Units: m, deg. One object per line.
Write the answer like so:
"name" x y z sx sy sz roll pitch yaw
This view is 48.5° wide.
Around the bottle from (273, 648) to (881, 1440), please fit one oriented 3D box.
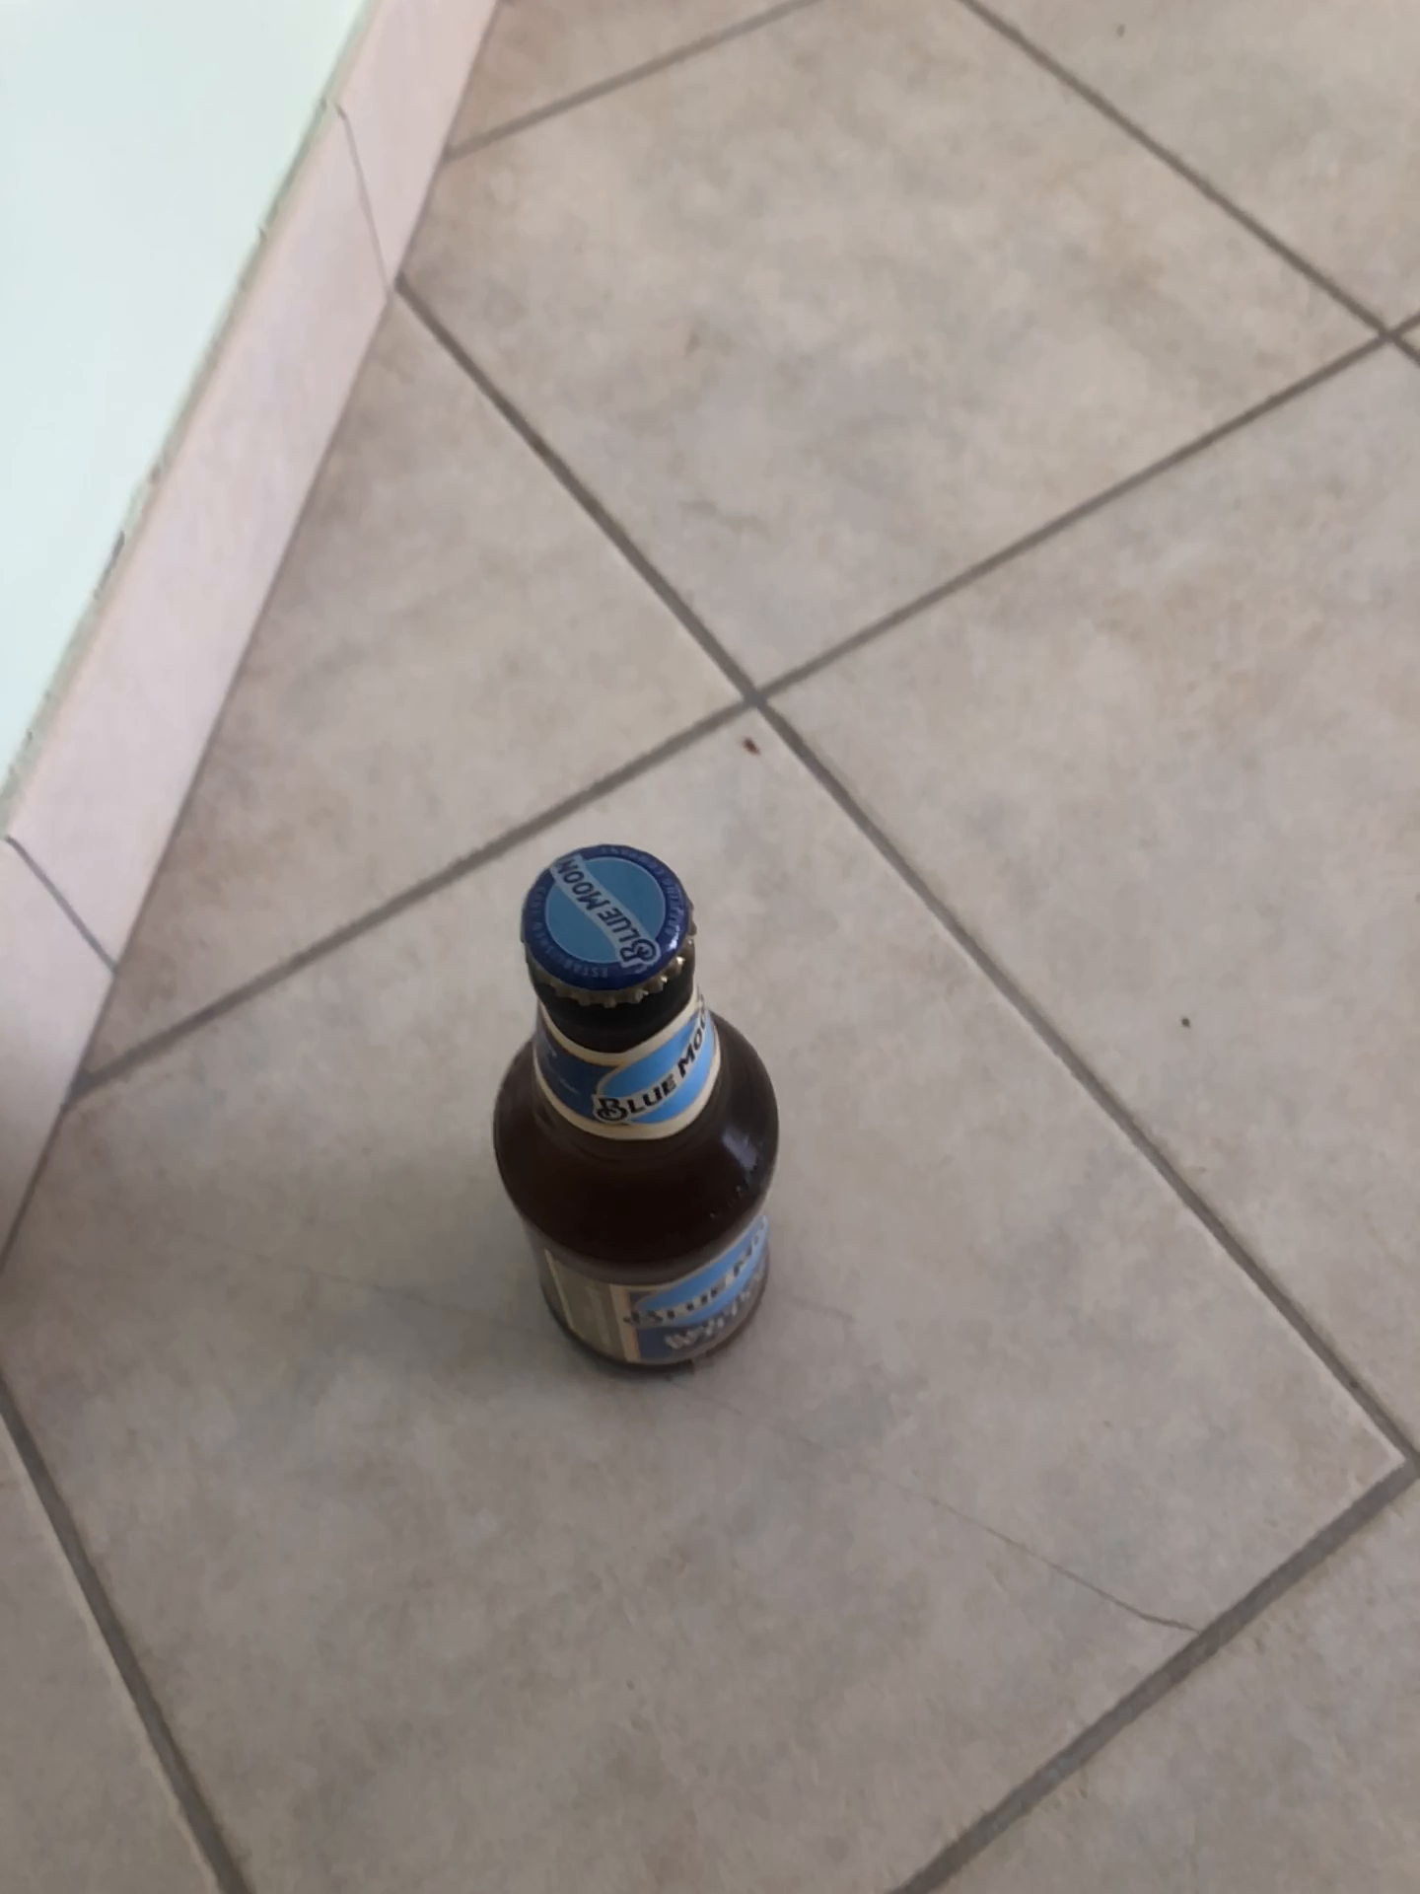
"bottle" -0.022 0.039 0.348 0.070 0.209 0.070 0 63 0
